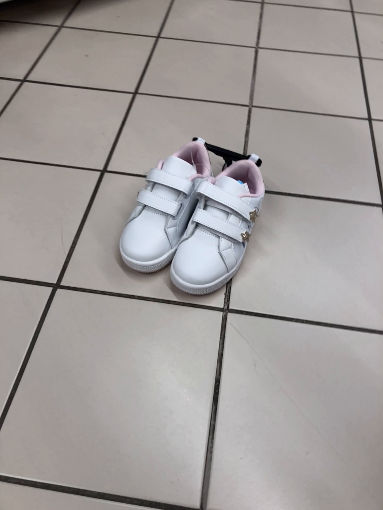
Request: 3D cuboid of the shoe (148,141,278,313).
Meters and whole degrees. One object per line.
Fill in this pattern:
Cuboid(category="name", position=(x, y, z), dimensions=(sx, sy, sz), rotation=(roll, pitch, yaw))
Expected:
Cuboid(category="shoe", position=(0.031, -0.042, 0.513), dimensions=(0.080, 0.070, 0.201), rotation=(20, 55, 13))

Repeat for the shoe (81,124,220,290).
Cuboid(category="shoe", position=(-0.041, -0.067, 0.521), dimensions=(0.080, 0.070, 0.201), rotation=(20, 55, 13))
